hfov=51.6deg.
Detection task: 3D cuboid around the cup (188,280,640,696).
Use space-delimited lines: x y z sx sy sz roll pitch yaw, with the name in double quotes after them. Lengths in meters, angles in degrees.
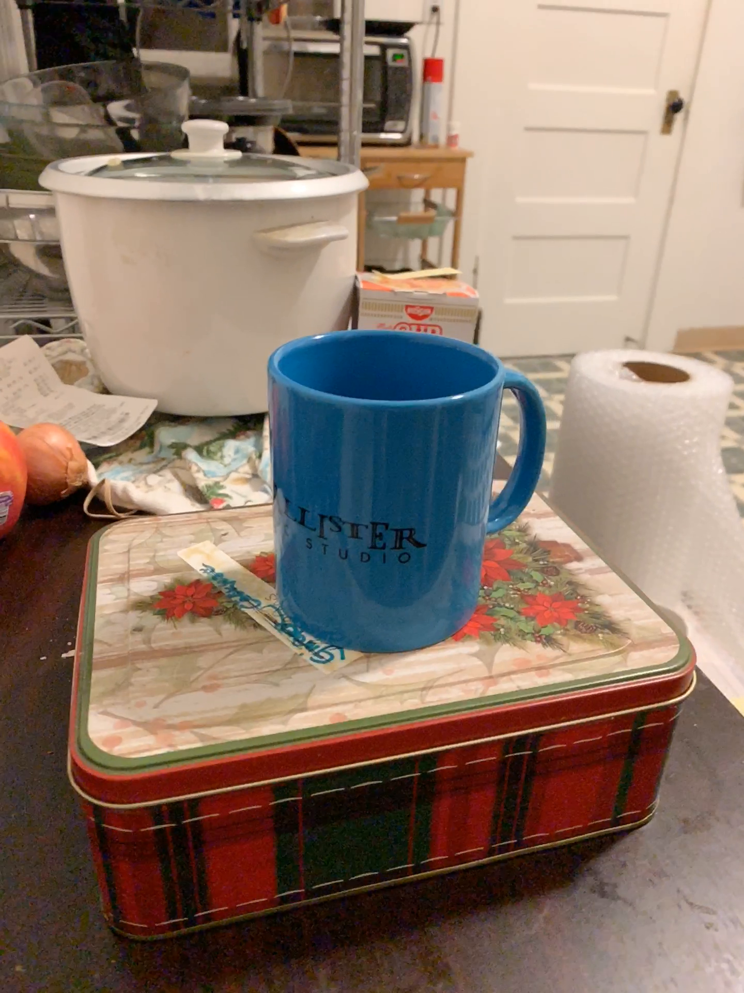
0.015 -0.015 0.290 0.130 0.099 0.090 -19 34 -34 "cup"
